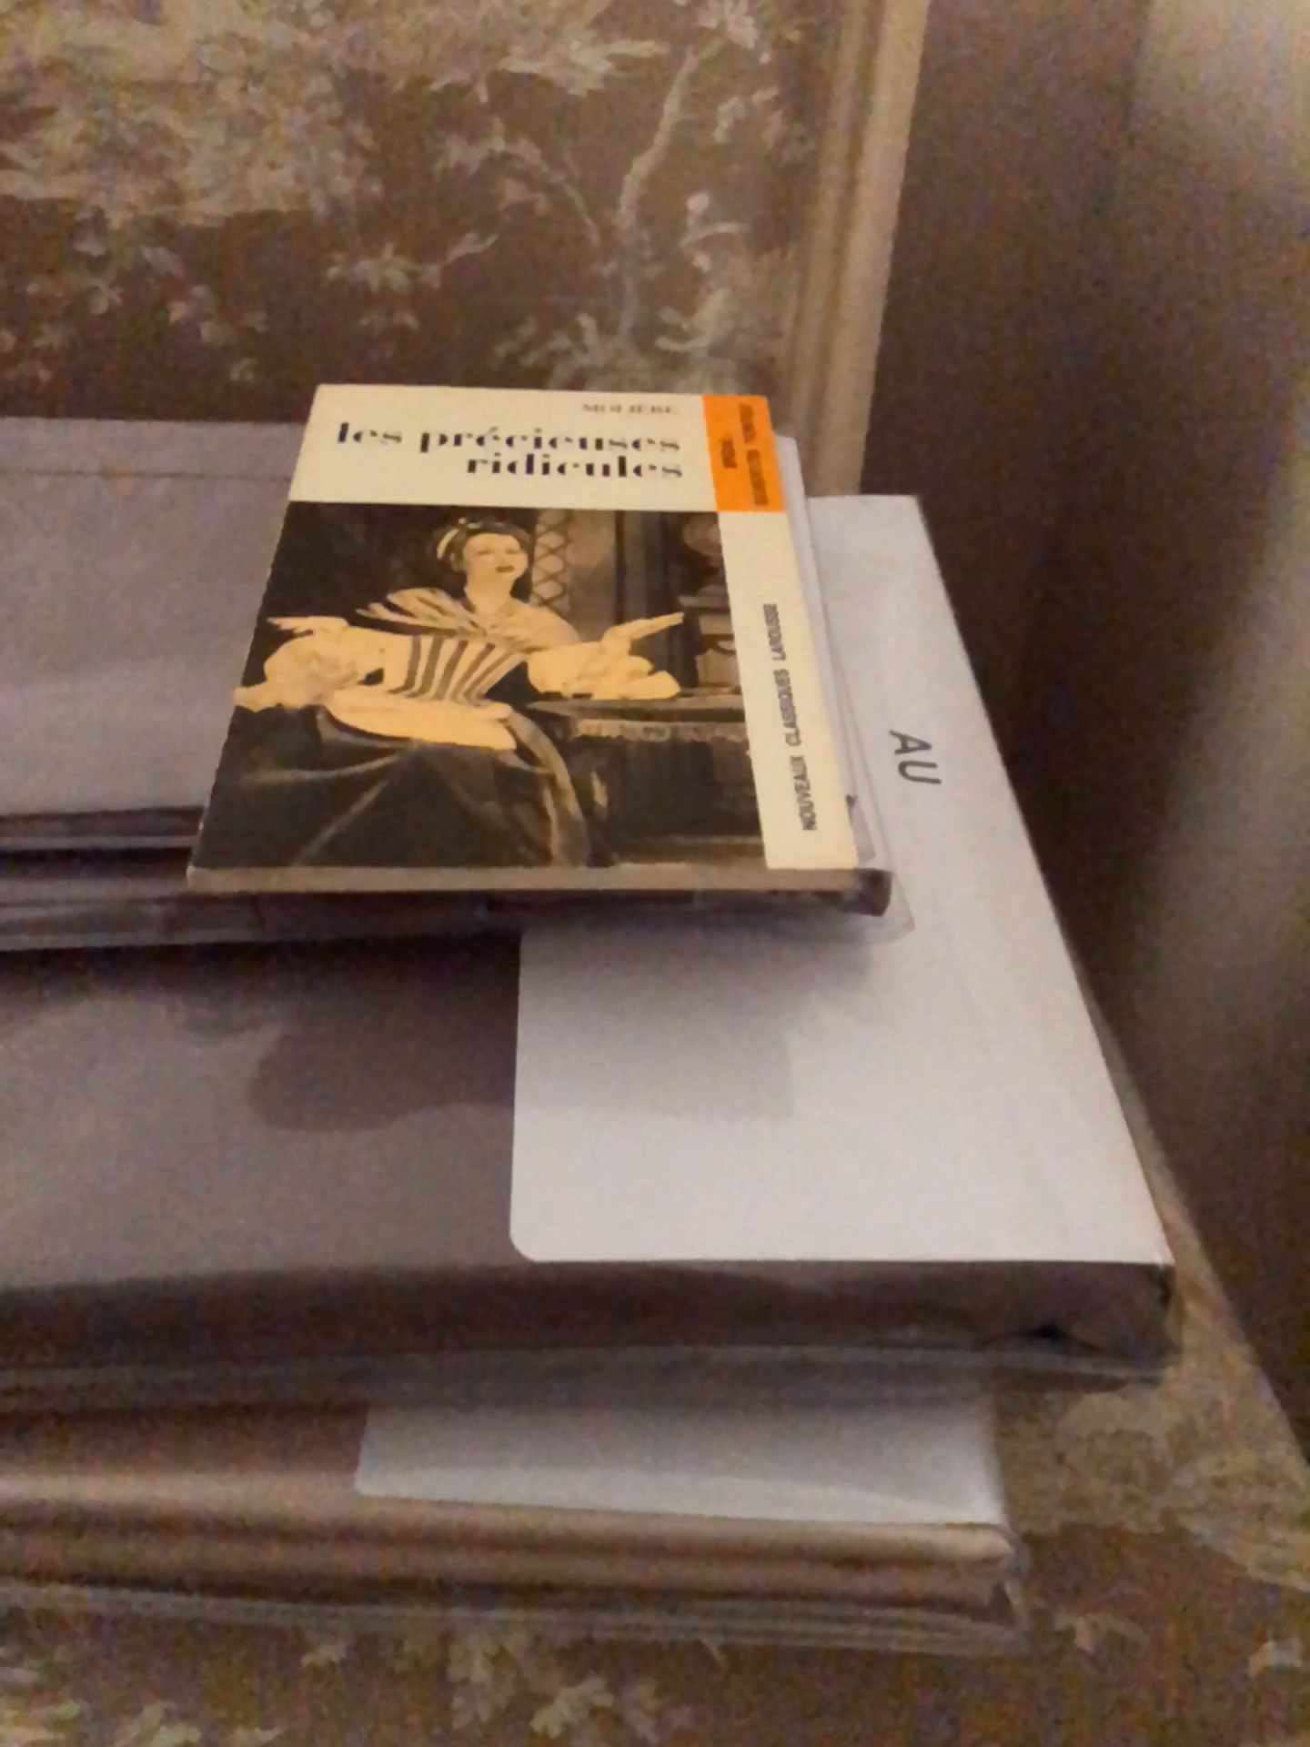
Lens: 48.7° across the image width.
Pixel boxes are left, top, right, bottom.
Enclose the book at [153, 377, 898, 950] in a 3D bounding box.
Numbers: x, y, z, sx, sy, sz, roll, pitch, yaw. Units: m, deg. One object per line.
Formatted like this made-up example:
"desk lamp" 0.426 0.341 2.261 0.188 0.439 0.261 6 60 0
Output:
"book" -0.024 -0.057 0.307 0.120 0.020 0.181 -1 43 -3
